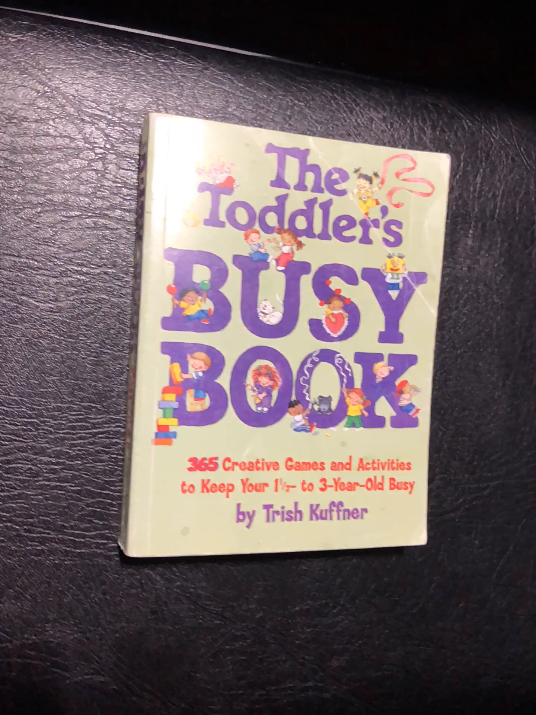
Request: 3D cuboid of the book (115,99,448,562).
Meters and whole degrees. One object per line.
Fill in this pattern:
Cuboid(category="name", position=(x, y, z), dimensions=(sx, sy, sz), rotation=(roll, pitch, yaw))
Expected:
Cuboid(category="book", position=(0.007, -0.008, 0.260), dimensions=(0.136, 0.033, 0.176), rotation=(3, 89, -16))
